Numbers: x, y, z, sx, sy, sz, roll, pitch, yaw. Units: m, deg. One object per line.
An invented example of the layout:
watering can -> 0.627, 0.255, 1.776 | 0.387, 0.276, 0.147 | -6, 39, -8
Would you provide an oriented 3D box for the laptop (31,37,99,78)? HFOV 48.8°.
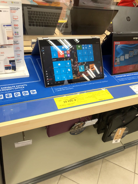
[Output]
laptop -> -0.044, -0.197, 0.923 | 0.336, 0.150, 0.211 | -9, 15, -22
